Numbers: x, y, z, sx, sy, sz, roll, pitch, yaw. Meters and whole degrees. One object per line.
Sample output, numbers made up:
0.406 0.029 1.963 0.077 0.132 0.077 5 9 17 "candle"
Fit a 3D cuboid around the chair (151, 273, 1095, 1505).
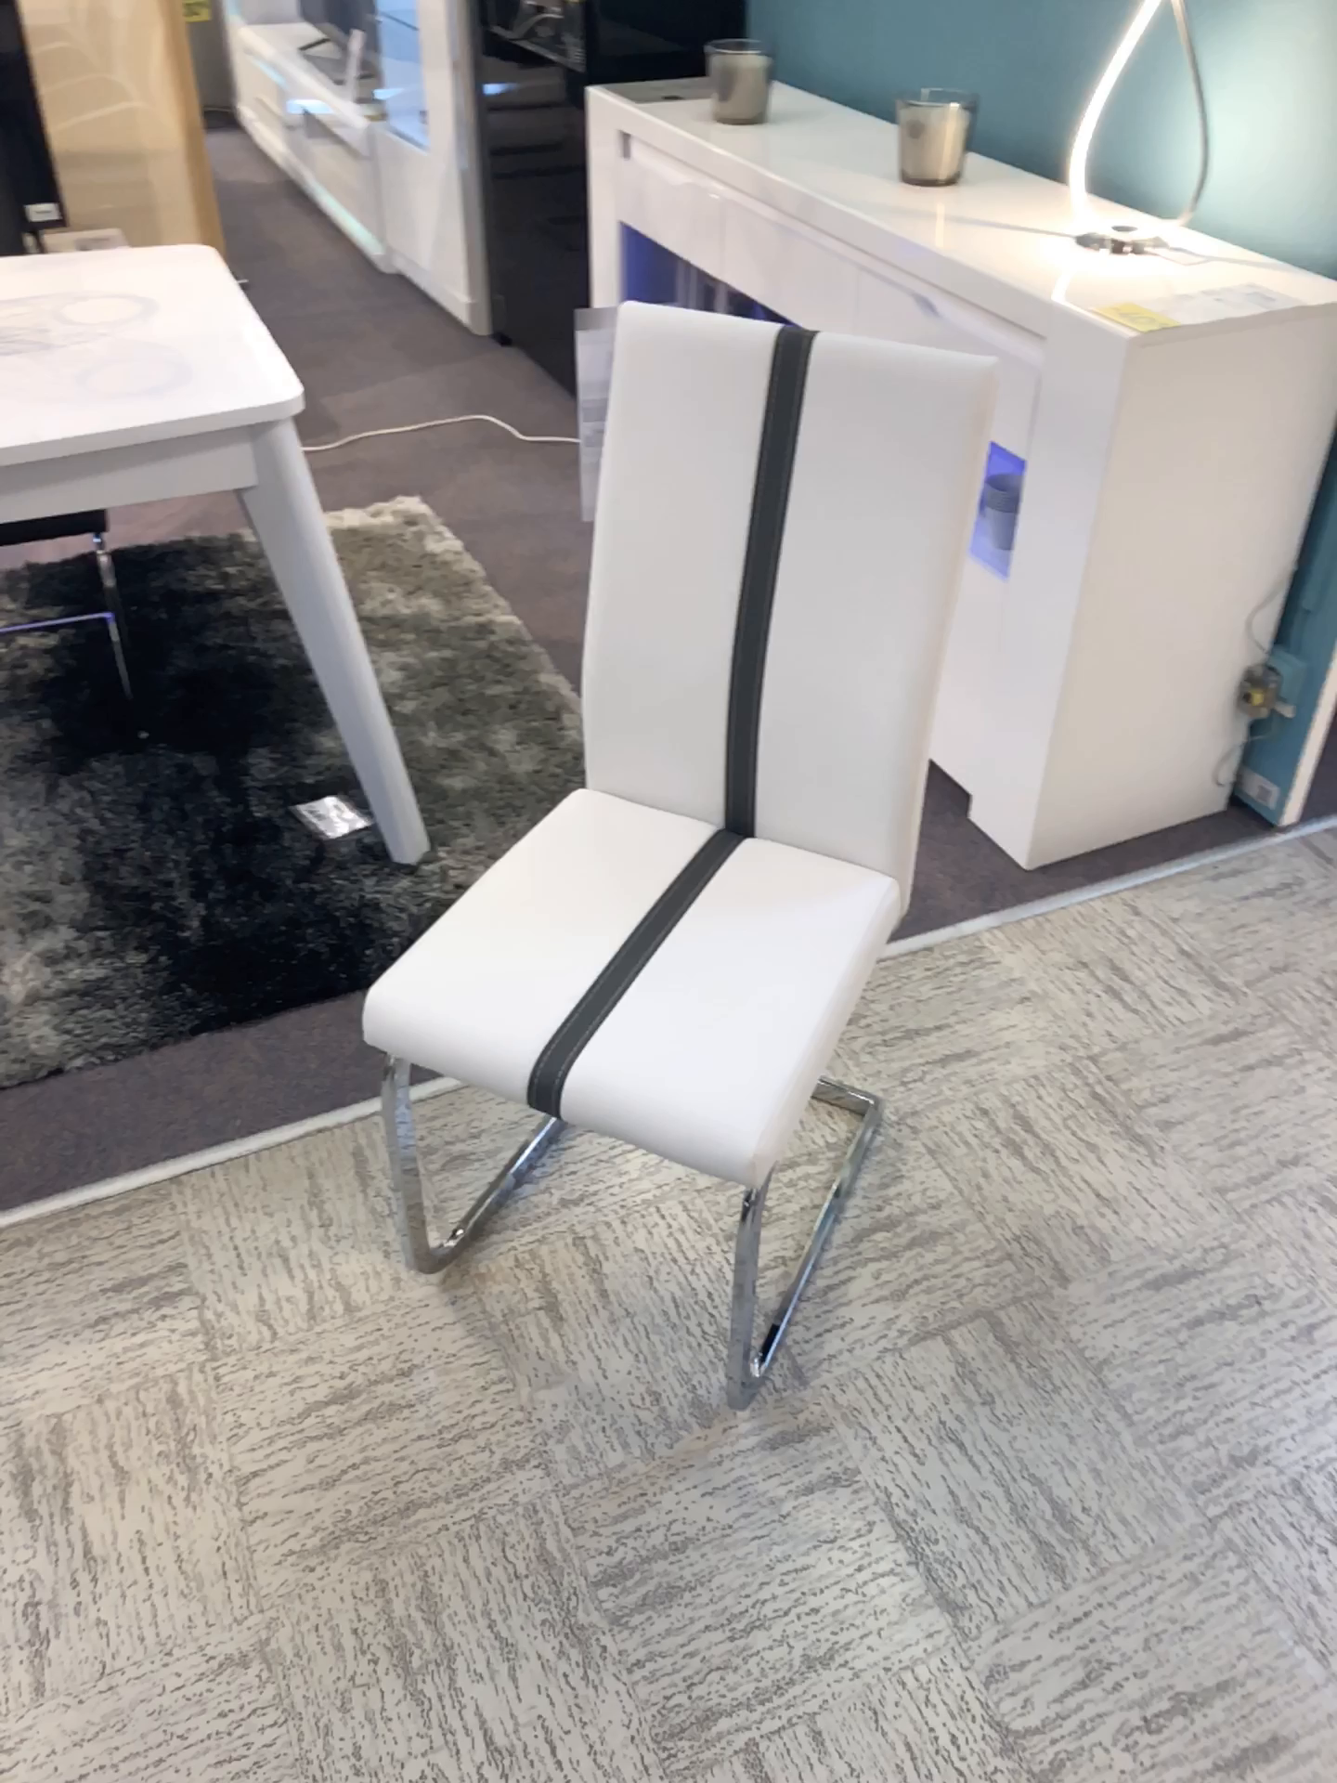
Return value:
0.001 -0.011 1.358 0.487 0.878 0.573 18 41 22 "chair"
